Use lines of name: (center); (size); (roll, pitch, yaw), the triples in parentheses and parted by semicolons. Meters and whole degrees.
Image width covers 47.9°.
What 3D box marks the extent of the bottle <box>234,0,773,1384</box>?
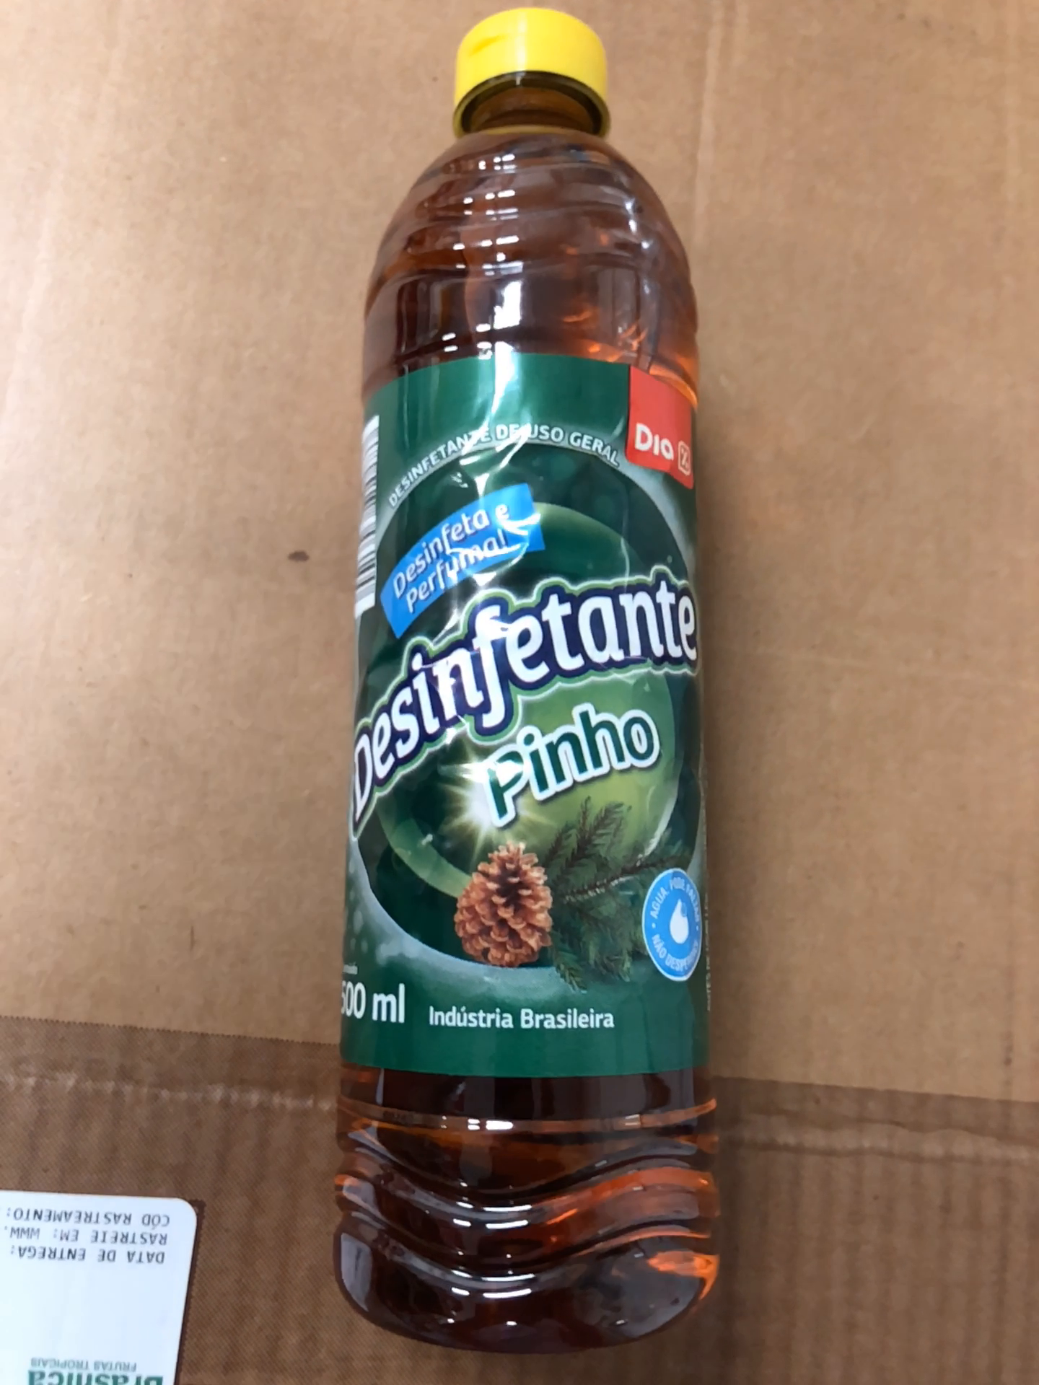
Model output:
bottle: (-0.001, -0.012, 0.190); (0.060, 0.070, 0.220); (-1, 76, 3)
